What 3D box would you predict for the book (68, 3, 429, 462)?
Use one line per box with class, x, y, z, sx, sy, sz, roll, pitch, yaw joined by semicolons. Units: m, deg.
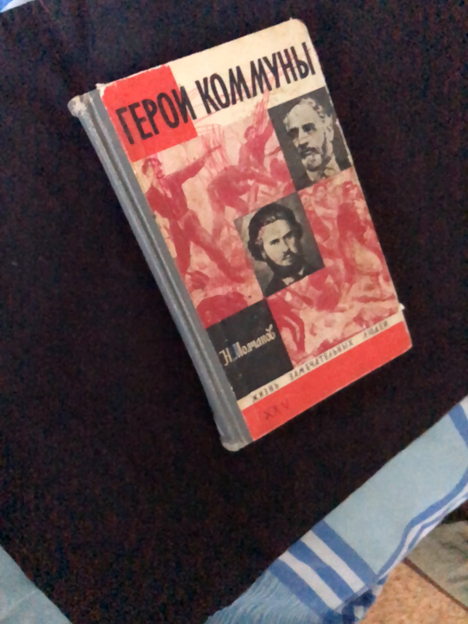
book;0.013;-0.040;0.299;0.128;0.060;0.201;-28;106;-14
